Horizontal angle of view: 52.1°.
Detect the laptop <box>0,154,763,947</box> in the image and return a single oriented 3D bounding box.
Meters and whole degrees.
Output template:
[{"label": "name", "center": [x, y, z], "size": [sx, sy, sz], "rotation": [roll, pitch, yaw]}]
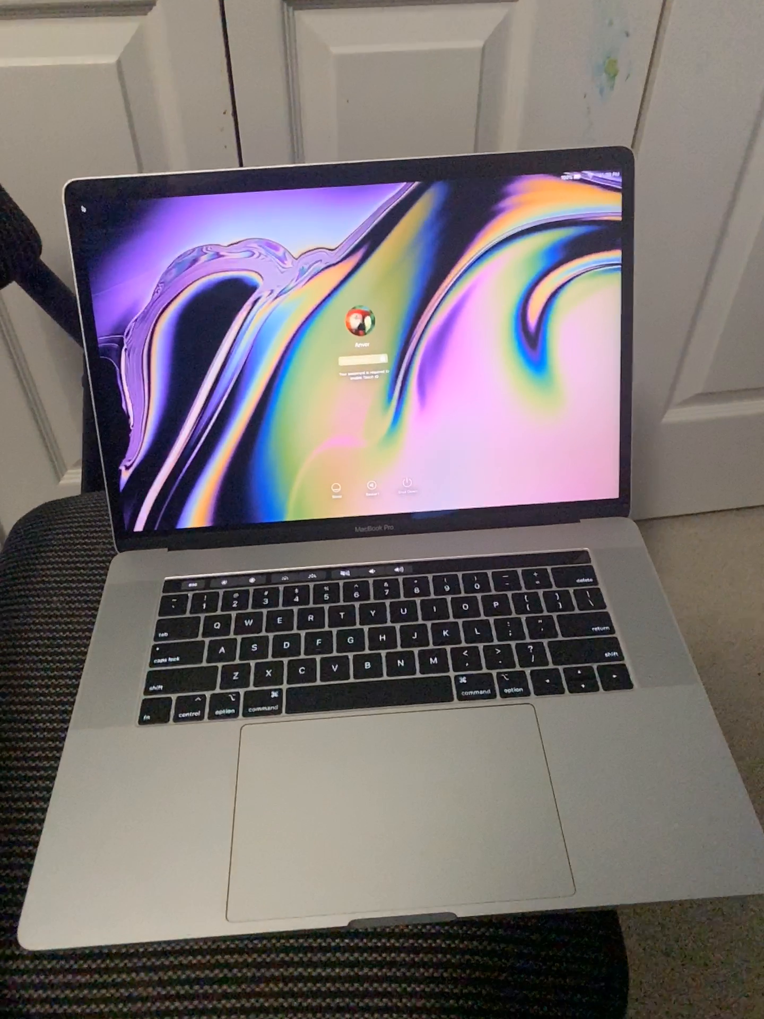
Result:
[{"label": "laptop", "center": [-0.002, -0.010, 0.405], "size": [0.342, 0.194, 0.354], "rotation": [-3, 44, -1]}]
